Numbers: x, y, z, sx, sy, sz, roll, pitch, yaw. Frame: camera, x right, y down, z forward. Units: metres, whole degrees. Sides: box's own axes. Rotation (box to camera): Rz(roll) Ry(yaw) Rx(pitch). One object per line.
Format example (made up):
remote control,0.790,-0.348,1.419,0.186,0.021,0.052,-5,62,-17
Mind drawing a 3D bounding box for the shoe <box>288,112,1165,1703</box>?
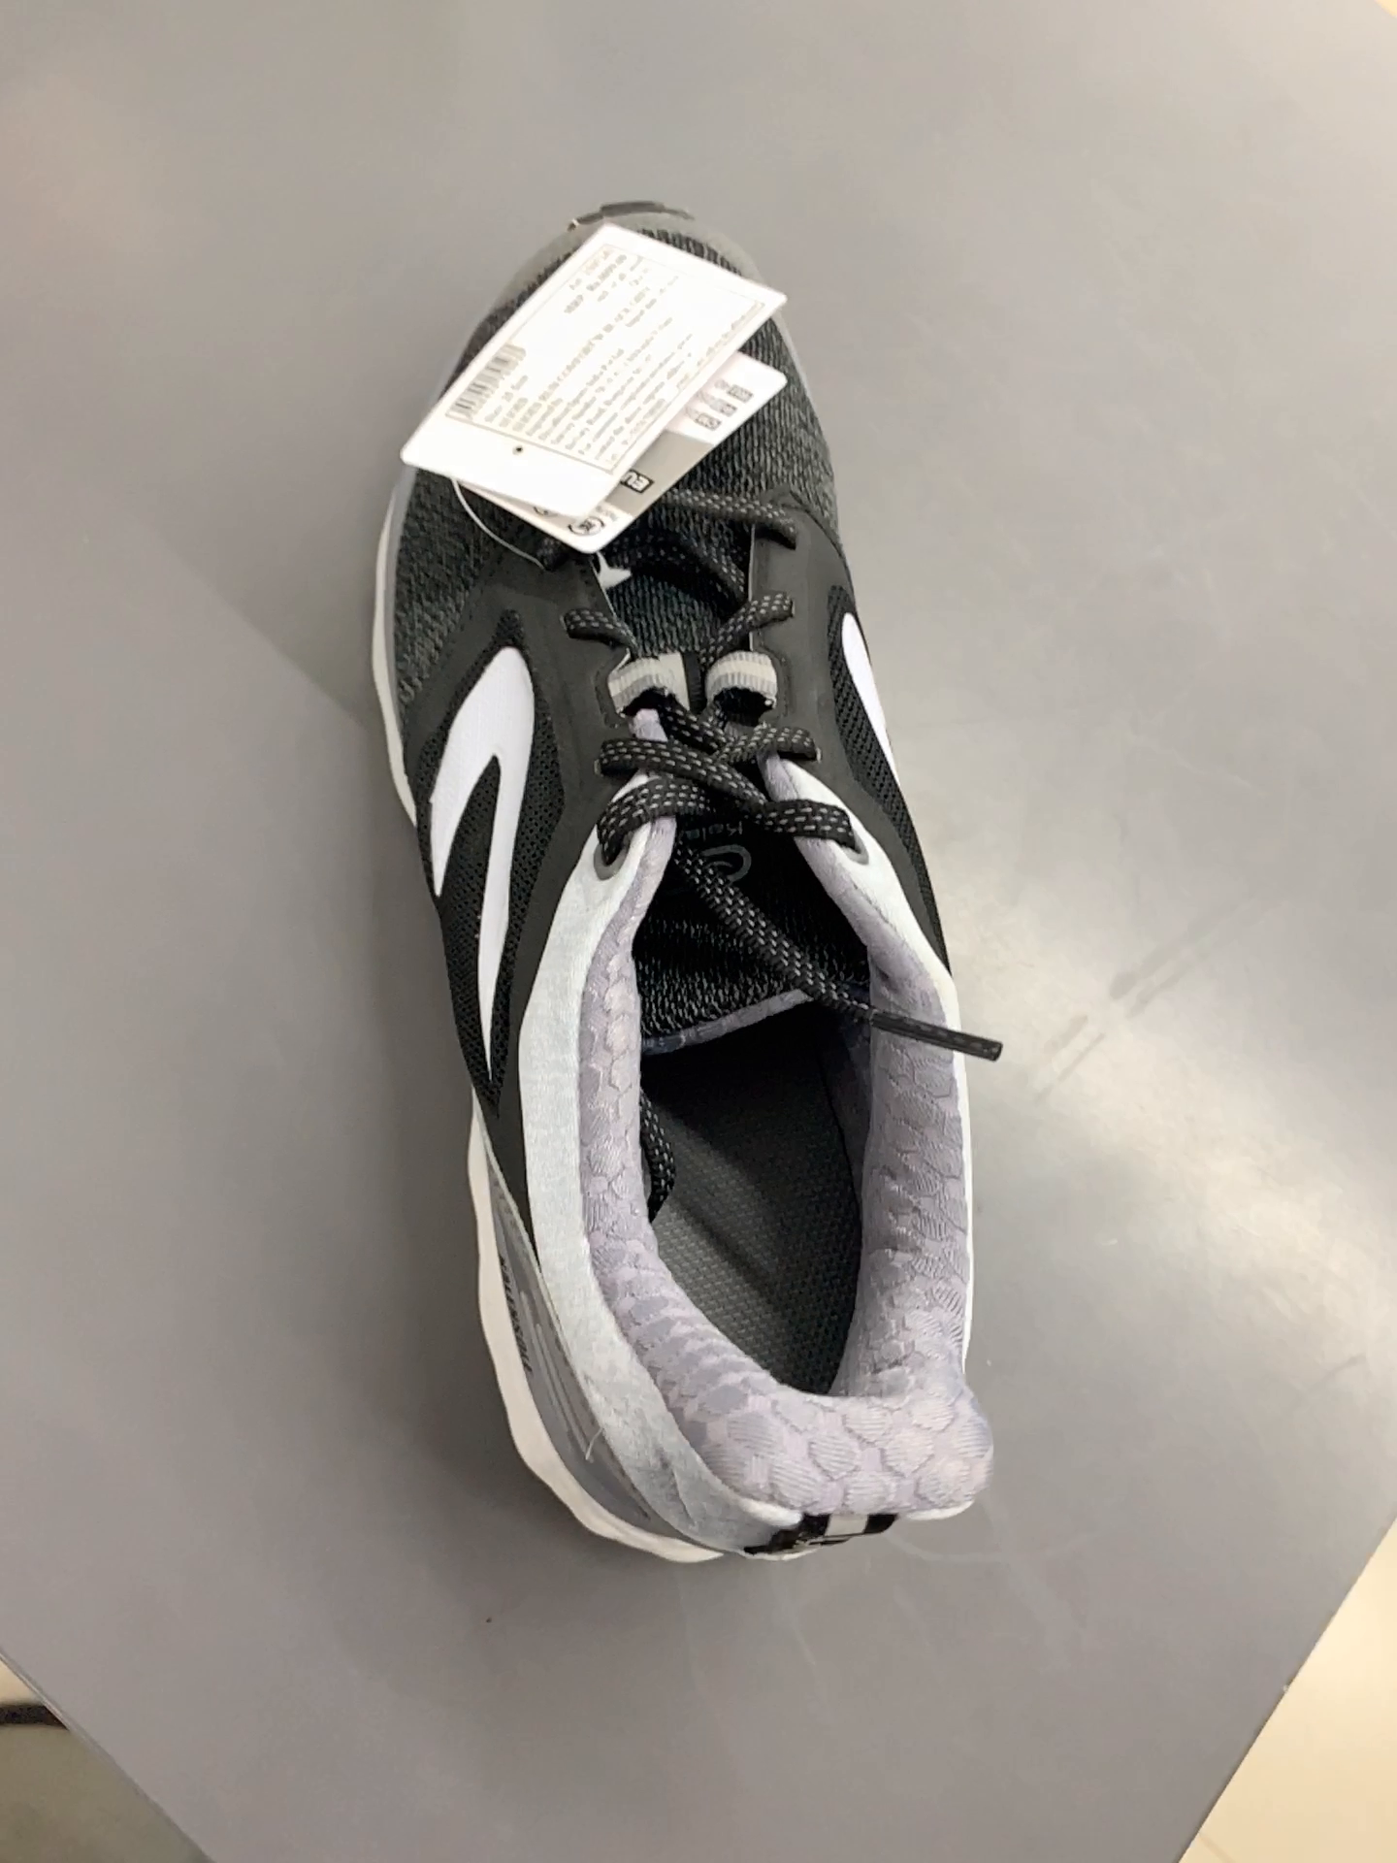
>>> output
shoe,-0.009,-0.013,0.260,0.100,0.090,0.240,-5,75,-10
